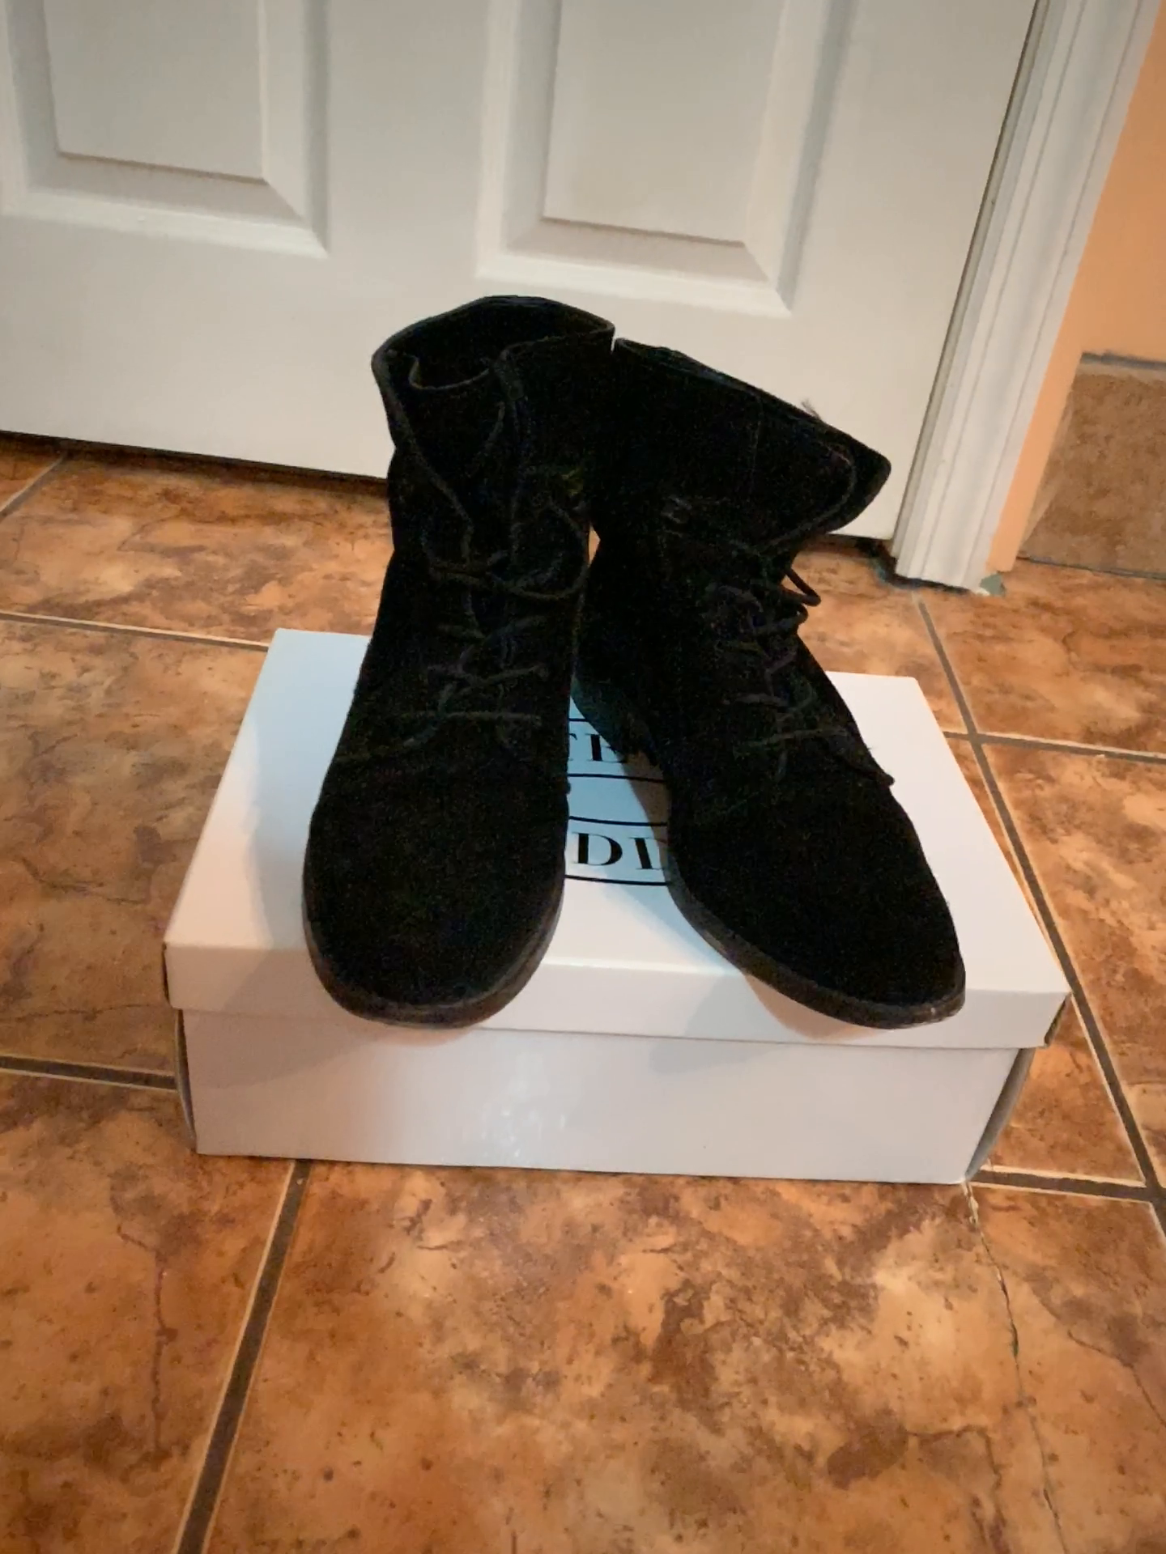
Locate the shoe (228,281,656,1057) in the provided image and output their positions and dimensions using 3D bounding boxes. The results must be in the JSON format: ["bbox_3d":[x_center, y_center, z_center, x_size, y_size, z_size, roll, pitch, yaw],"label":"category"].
[{"bbox_3d":[-0.035,-0.058,0.408,0.094,0.152,0.259,7,33,-2],"label":"shoe"}]

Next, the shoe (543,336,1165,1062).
[{"bbox_3d":[0.075,-0.051,0.438,0.107,0.142,0.268,-3,35,-16],"label":"shoe"}]
